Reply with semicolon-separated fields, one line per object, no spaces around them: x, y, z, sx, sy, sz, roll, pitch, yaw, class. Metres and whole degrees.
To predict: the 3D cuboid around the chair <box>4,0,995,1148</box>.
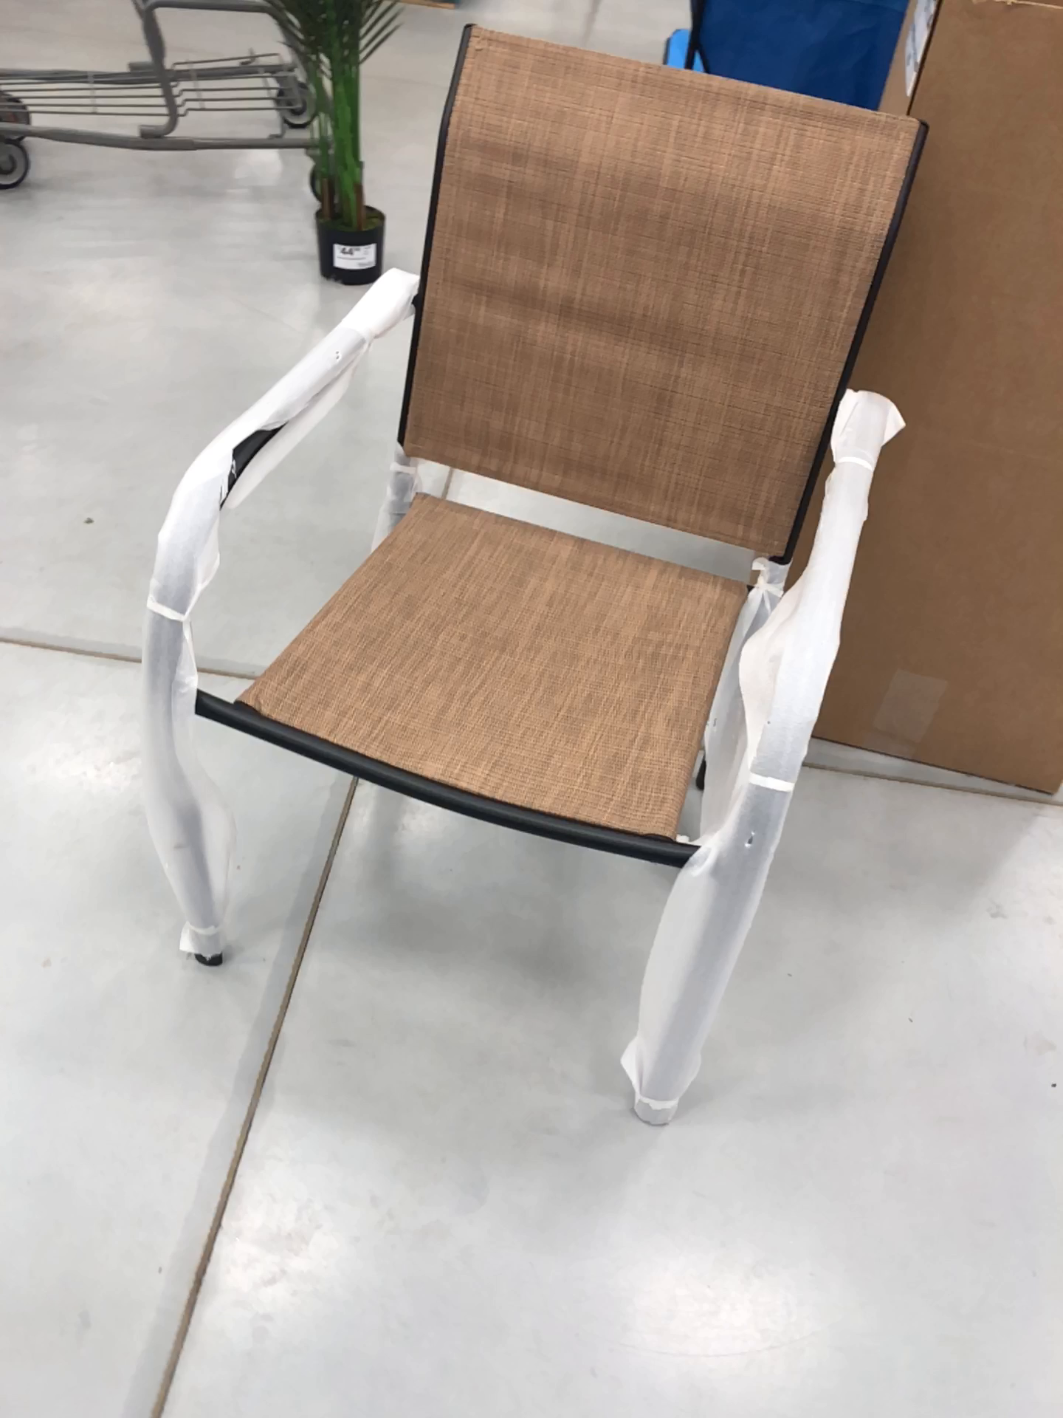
0.005;-0.130;1.235;0.620;0.877;0.632;17;44;9;chair
